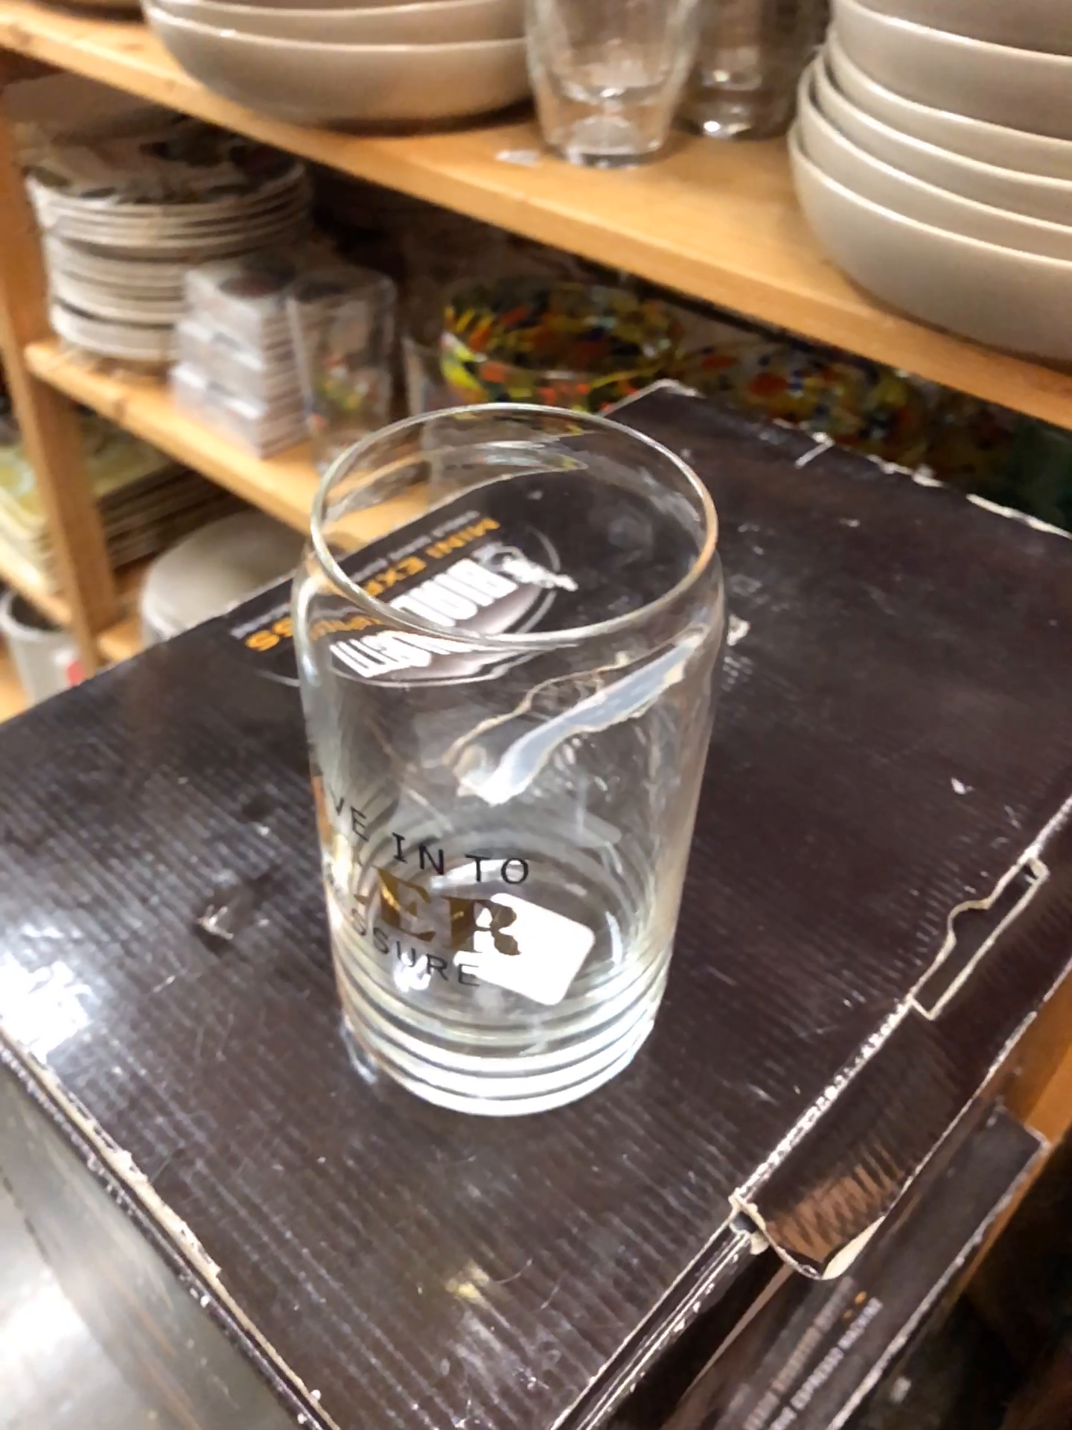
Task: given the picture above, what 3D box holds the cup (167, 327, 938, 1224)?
[{"bbox_3d":[0.002,0.009,0.223,0.081,0.116,0.087,2,41,-1],"label":"cup"}]
